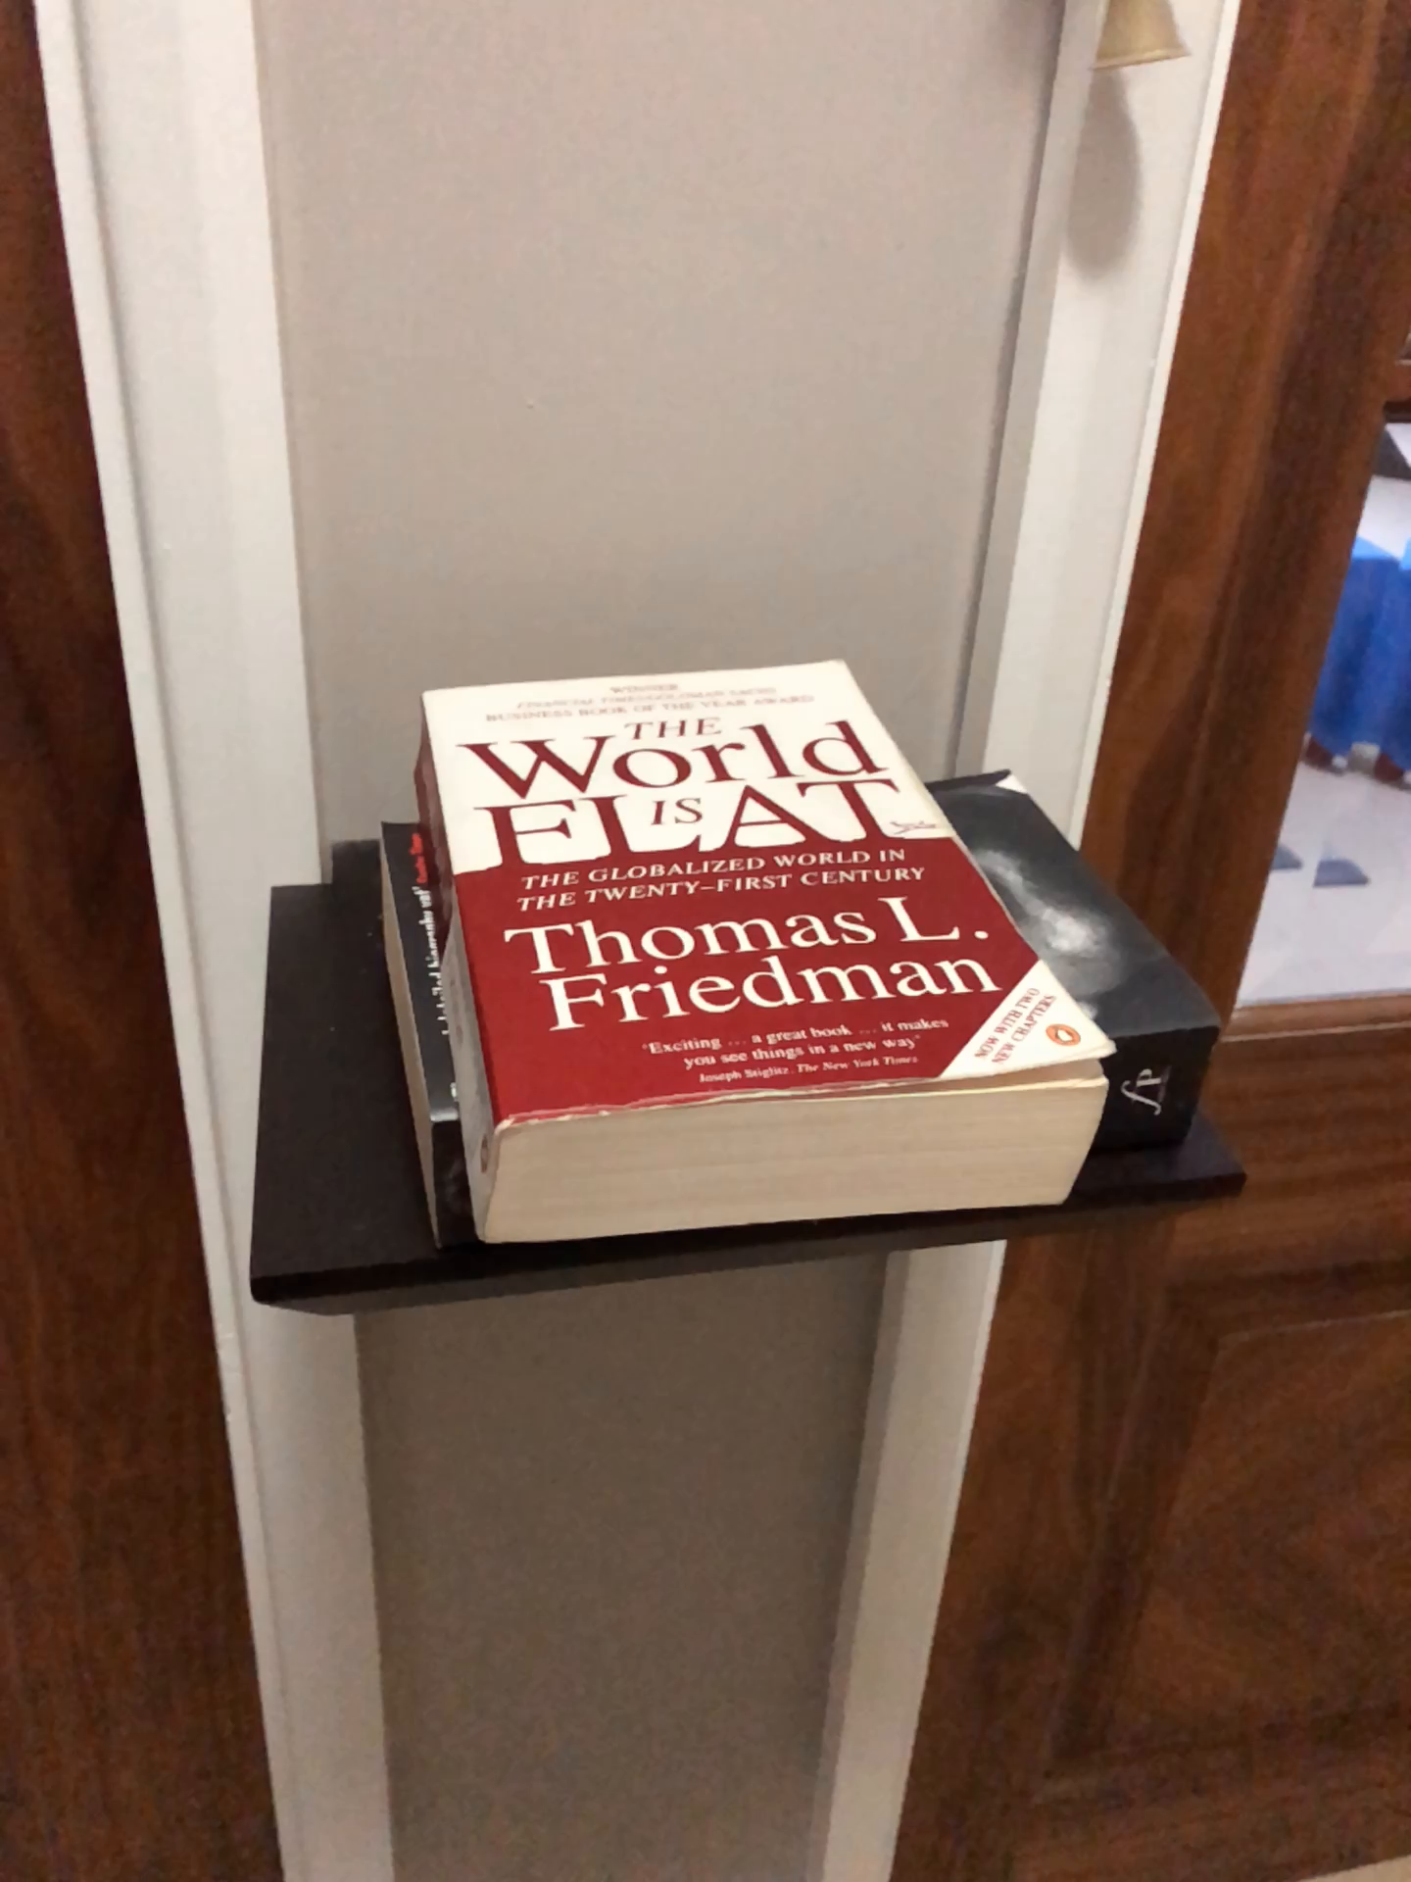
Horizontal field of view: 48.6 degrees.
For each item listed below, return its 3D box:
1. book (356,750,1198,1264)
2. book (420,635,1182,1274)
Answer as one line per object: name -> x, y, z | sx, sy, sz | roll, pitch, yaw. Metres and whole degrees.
book -> 0.011, 0.007, 0.448 | 0.200, 0.040, 0.151 | -5, 40, -18
book -> 0.005, -0.015, 0.395 | 0.140, 0.040, 0.212 | -5, 34, -10
